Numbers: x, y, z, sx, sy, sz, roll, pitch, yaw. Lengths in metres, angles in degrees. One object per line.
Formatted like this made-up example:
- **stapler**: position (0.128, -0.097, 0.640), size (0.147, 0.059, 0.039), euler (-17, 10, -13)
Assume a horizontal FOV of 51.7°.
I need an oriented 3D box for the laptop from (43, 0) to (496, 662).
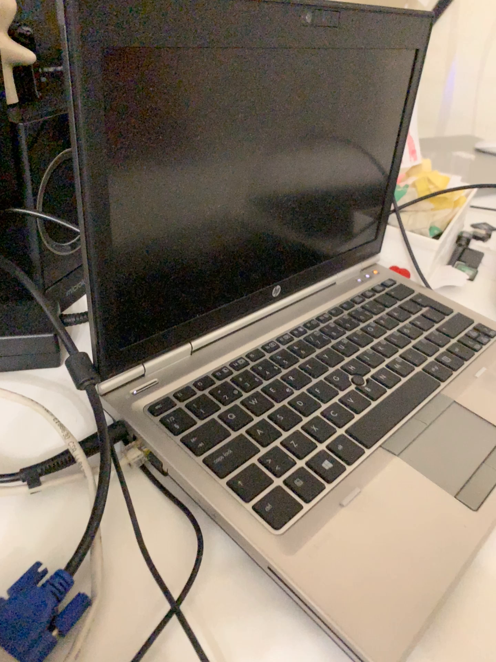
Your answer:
- **laptop**: position (0.093, -0.057, 0.299), size (0.224, 0.205, 0.304), euler (33, 41, 32)
